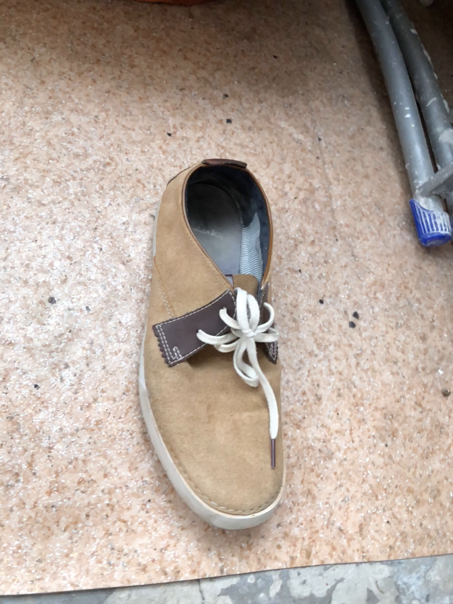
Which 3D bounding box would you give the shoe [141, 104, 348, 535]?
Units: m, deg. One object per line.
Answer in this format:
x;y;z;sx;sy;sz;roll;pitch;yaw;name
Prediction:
-0.002;0.007;0.387;0.110;0.090;0.301;4;67;-20;shoe
